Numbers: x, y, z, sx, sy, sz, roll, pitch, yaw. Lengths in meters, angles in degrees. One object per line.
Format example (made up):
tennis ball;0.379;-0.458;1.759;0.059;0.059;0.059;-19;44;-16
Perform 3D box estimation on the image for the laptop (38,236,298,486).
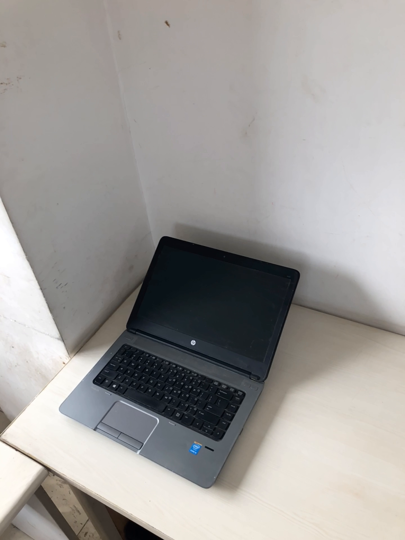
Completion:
laptop;-0.040;0.140;0.889;0.327;0.137;0.407;17;45;24
